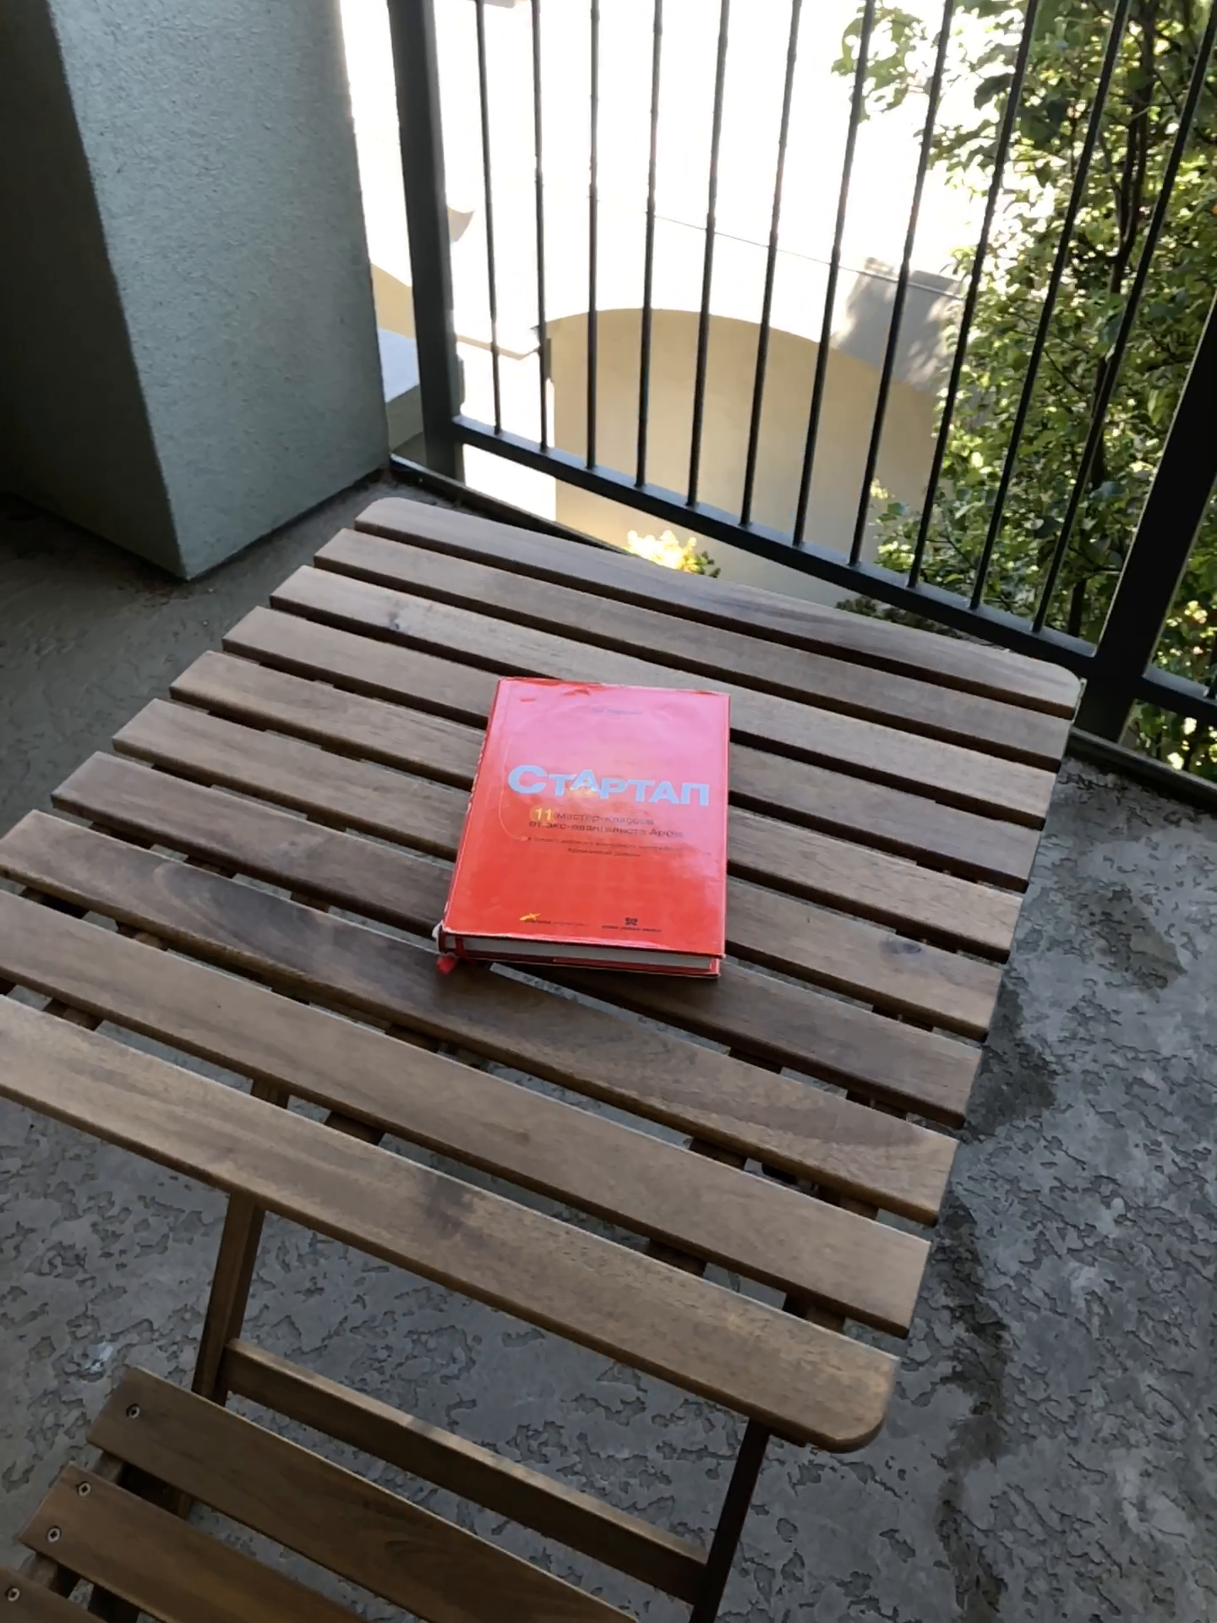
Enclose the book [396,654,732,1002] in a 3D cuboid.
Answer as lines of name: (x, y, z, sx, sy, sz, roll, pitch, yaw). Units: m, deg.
book: (-0.017, 0.001, 0.838, 0.180, 0.050, 0.241, 4, 44, 3)
